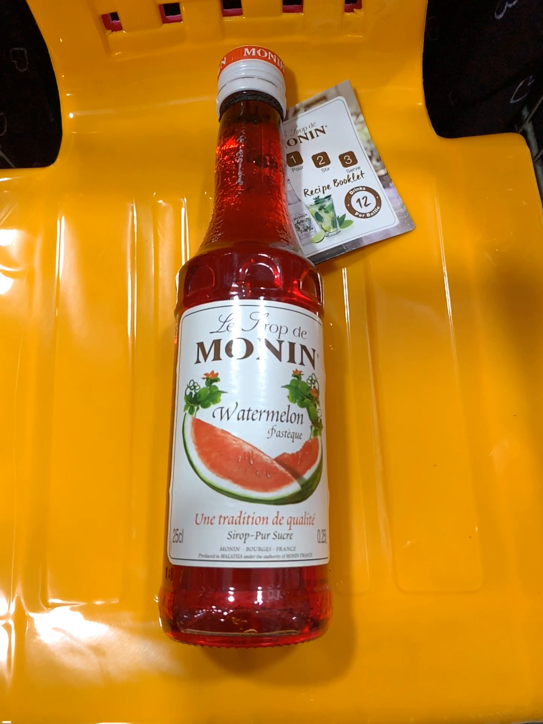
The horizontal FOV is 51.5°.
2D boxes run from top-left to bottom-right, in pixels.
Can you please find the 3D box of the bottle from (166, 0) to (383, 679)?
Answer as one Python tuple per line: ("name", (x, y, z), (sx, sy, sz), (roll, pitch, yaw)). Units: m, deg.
("bottle", (-0.001, -0.020, 0.206), (0.060, 0.050, 0.230), (2, 76, -7))
